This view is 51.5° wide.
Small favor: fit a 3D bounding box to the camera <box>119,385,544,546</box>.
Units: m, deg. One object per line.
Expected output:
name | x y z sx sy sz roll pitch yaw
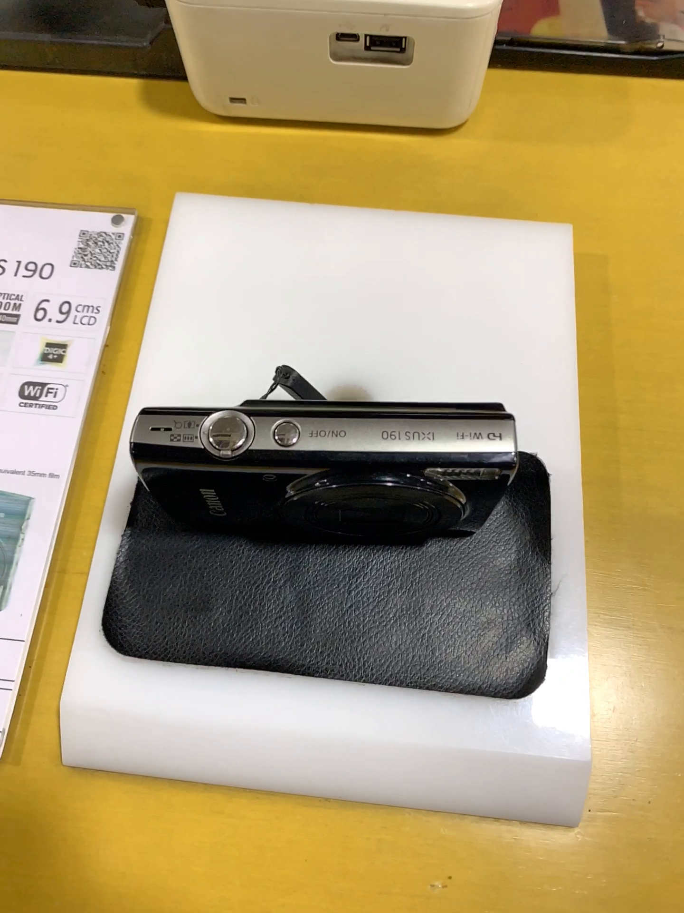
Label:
camera | -0.002 0.005 0.182 0.090 0.060 0.020 1 68 1
